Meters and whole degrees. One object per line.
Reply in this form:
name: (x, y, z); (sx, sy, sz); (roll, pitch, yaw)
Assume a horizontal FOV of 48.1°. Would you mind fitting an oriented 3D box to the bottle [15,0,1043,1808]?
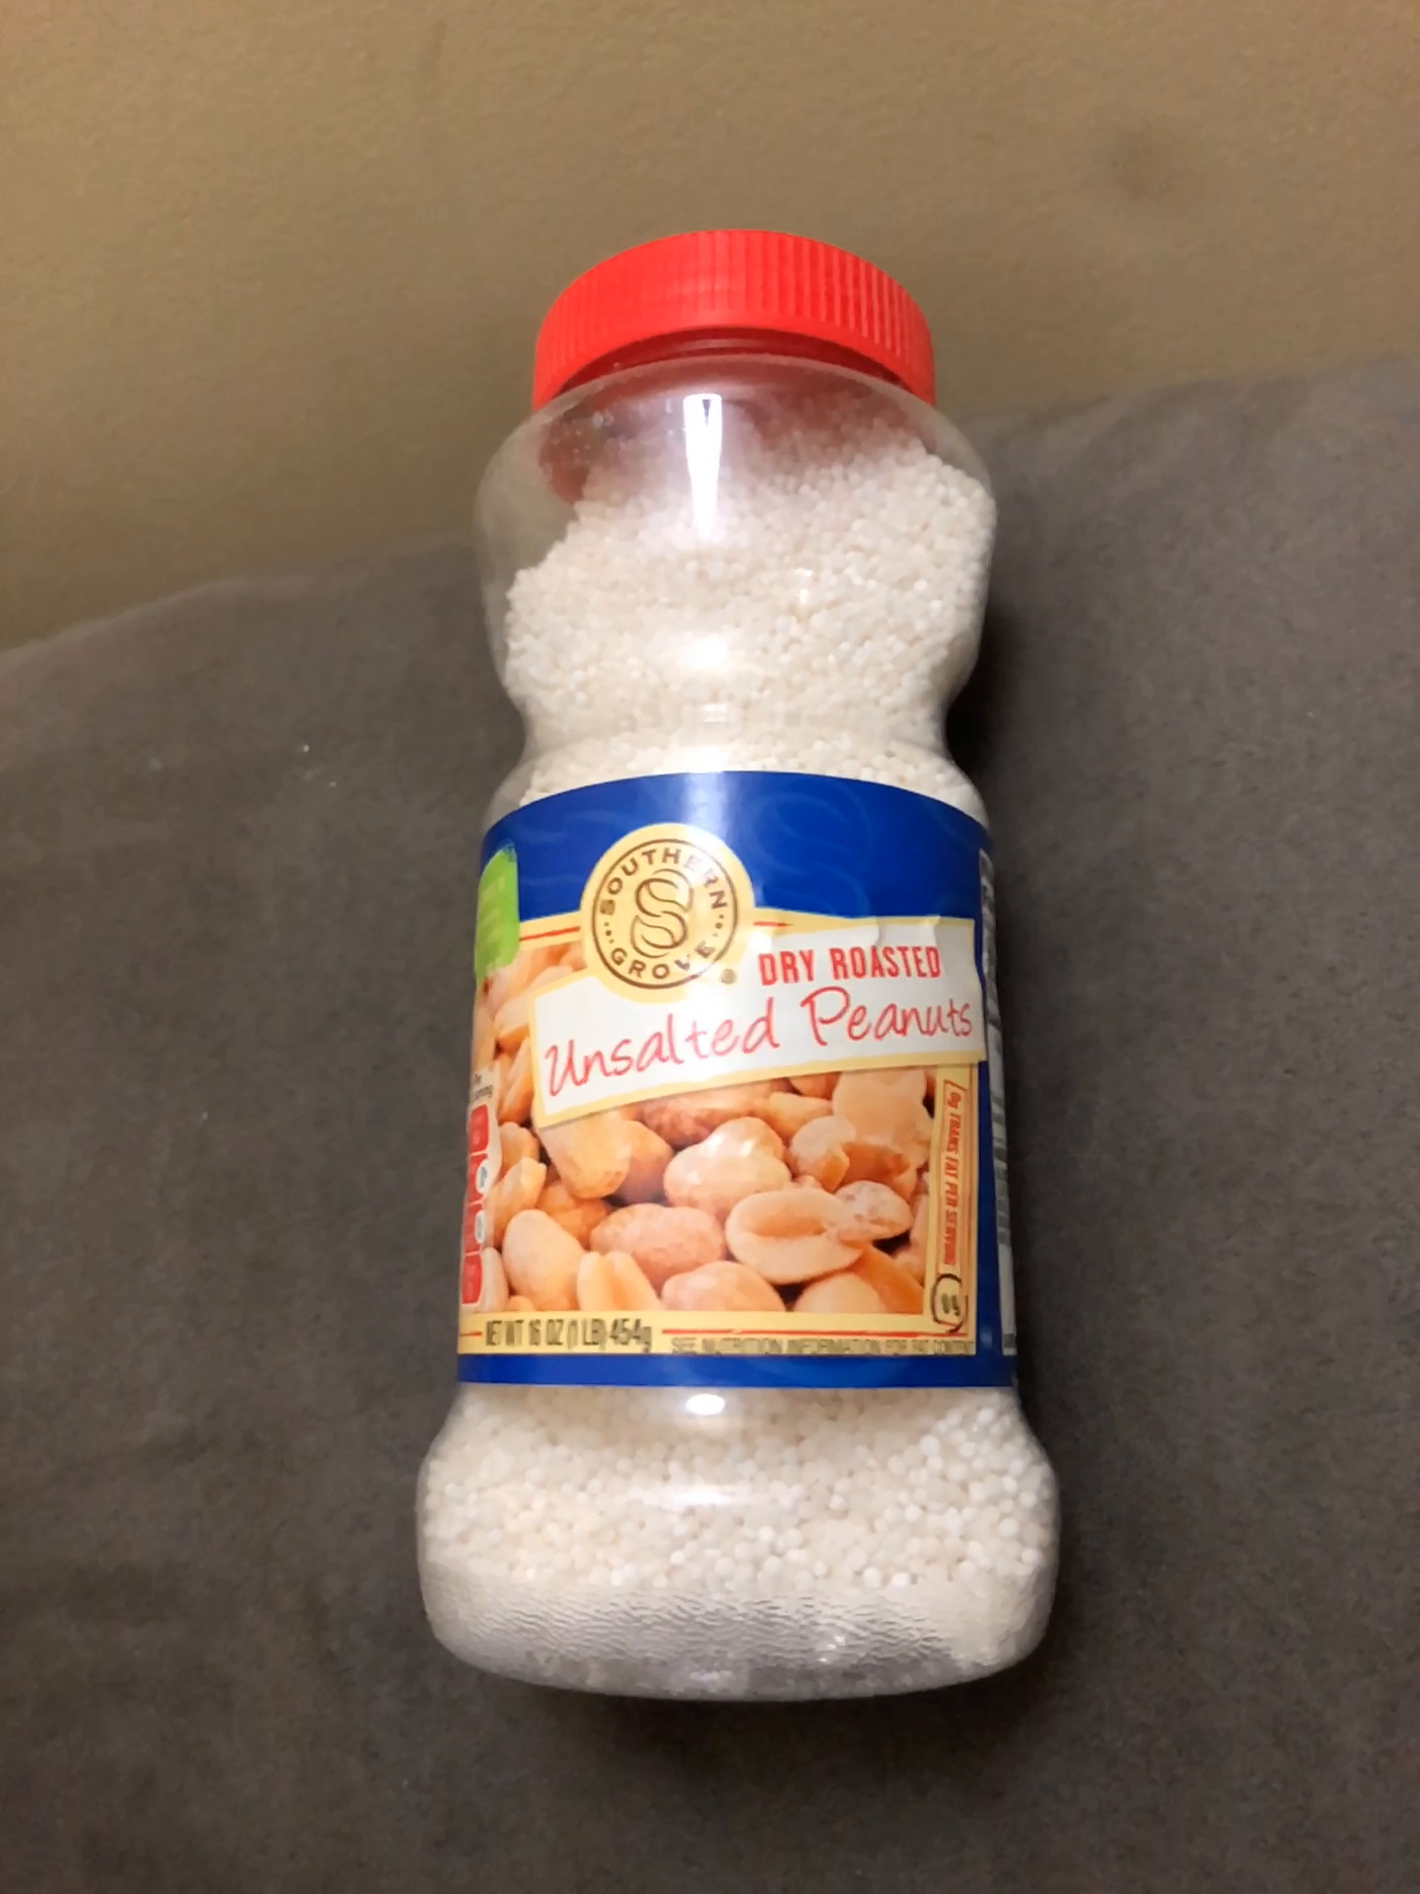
bottle: (-0.012, -0.013, 0.230); (0.095, 0.090, 0.220); (-5, 72, 25)
